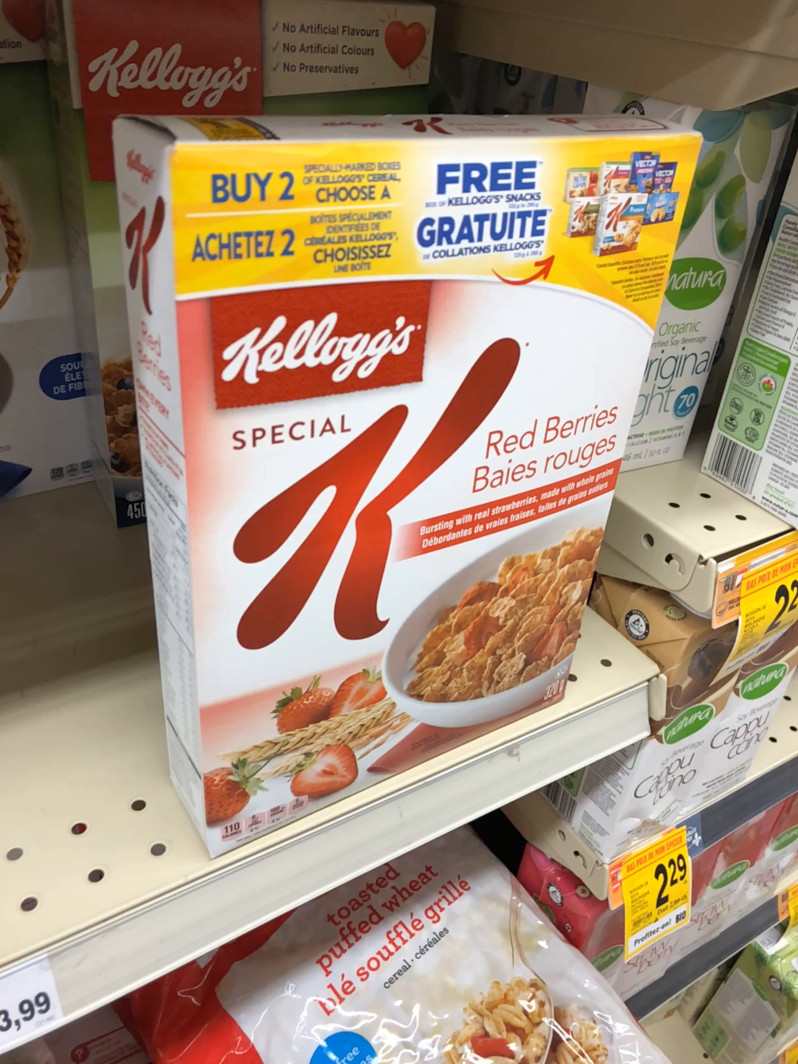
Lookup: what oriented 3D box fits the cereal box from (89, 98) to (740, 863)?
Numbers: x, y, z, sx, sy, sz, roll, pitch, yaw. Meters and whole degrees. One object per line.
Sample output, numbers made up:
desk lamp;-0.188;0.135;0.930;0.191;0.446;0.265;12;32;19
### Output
cereal box;0.004;-0.016;0.320;0.190;0.248;0.050;-16;40;-30
